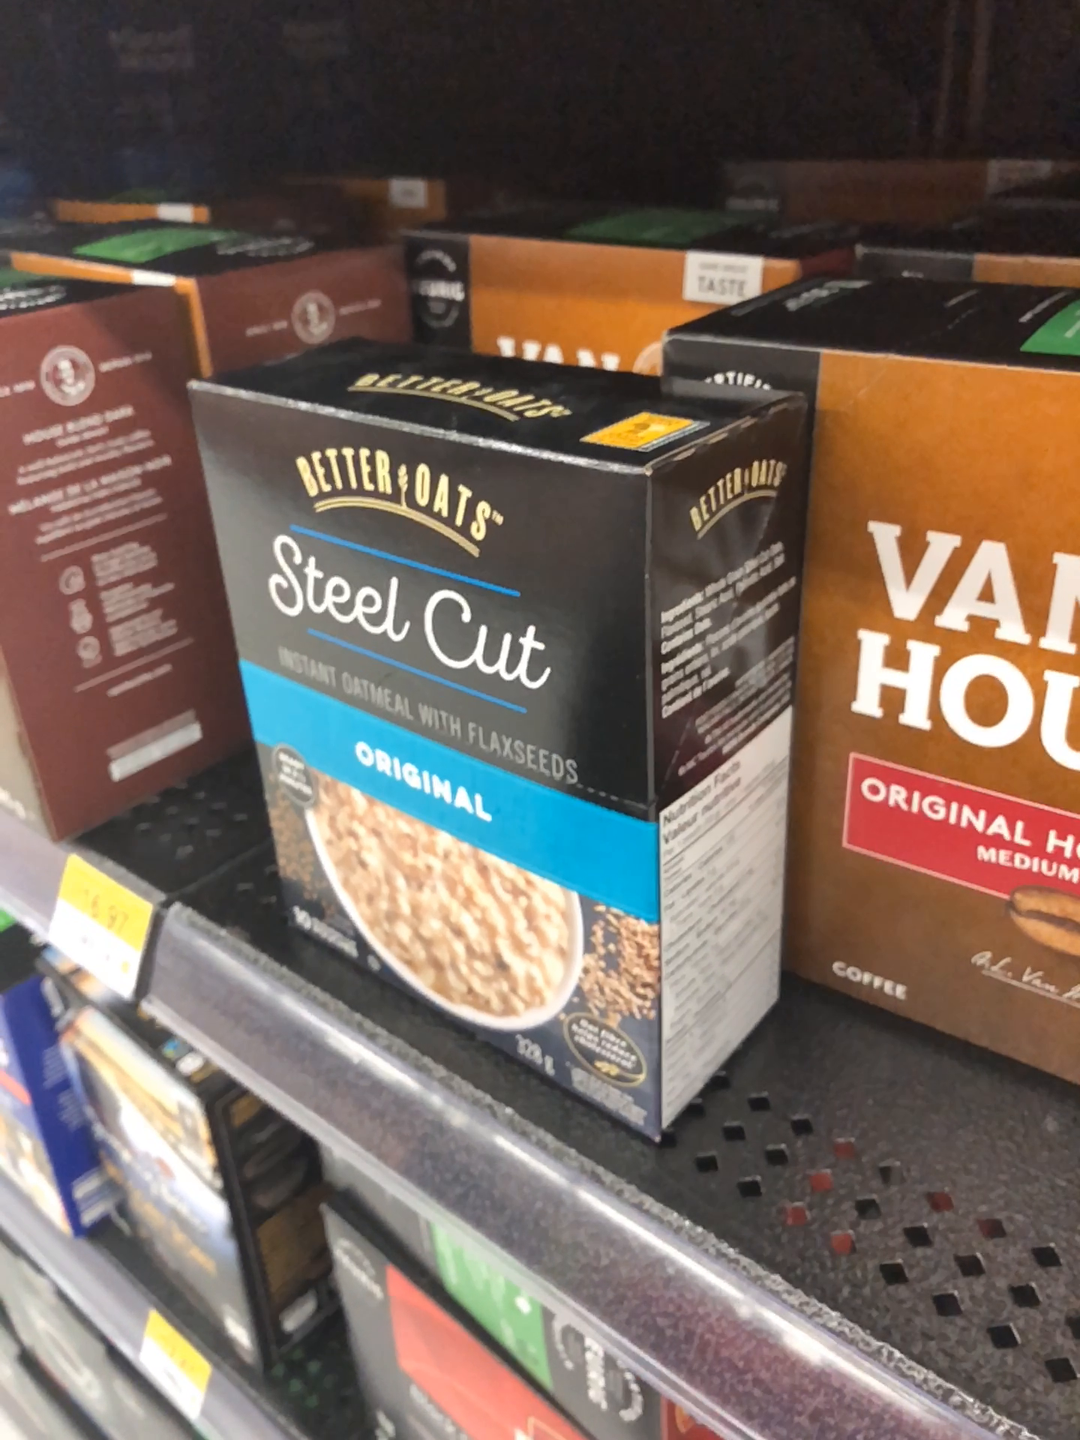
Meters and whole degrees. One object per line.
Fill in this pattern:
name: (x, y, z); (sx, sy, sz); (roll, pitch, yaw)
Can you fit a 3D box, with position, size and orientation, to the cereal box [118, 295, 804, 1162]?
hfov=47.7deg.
cereal box: (-0.018, -0.004, 0.314); (0.150, 0.179, 0.060); (20, 38, 35)
